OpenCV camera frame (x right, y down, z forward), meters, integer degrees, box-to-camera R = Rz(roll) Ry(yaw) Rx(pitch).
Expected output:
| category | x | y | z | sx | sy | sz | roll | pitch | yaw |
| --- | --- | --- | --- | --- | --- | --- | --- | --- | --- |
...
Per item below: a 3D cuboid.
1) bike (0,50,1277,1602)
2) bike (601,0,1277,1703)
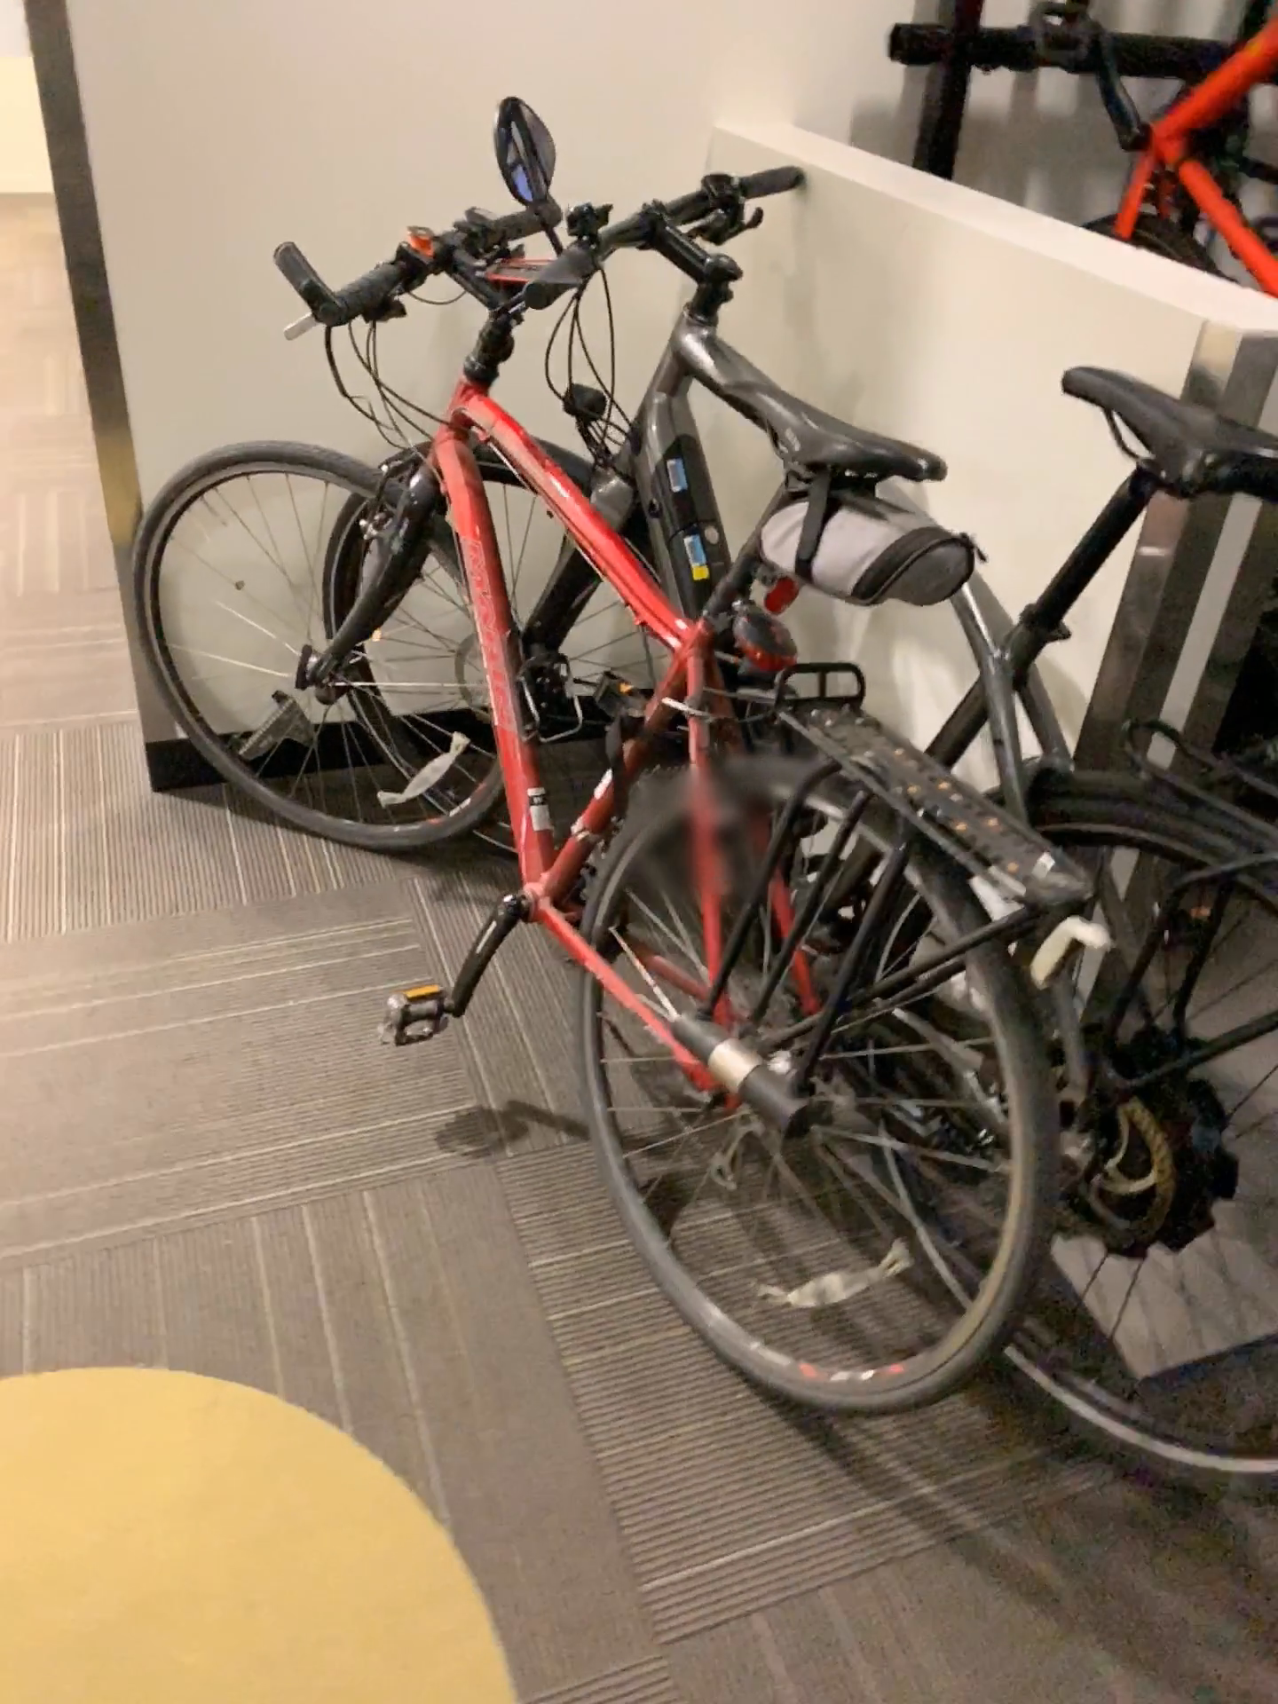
| category | x | y | z | sx | sy | sz | roll | pitch | yaw |
| --- | --- | --- | --- | --- | --- | --- | --- | --- | --- |
| bike | -0.117 | -0.203 | 1.522 | 0.603 | 0.927 | 1.618 | -25 | 49 | -36 |
| bike | 0.509 | 0.076 | 1.185 | 0.693 | 1.149 | 0.729 | -24 | 50 | -35 |
